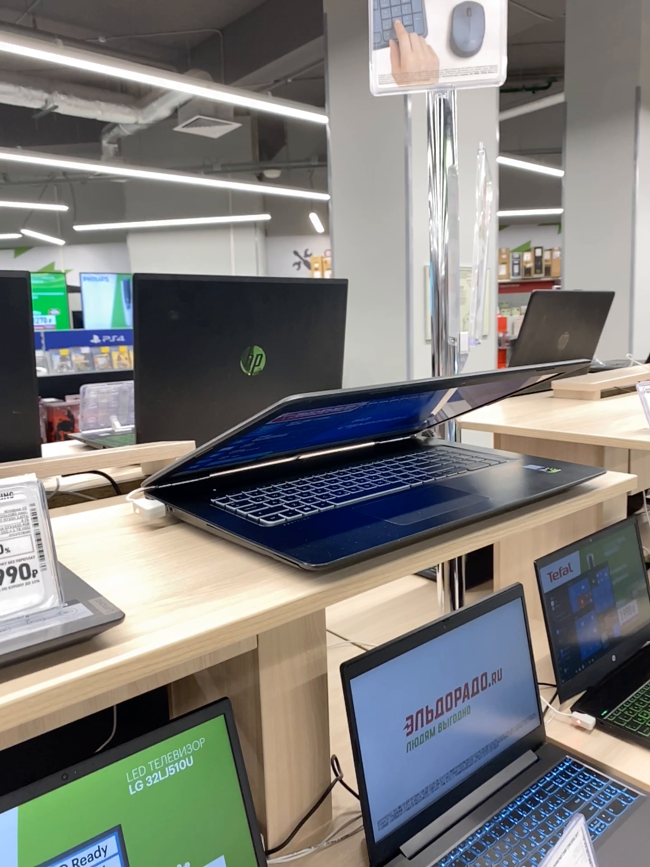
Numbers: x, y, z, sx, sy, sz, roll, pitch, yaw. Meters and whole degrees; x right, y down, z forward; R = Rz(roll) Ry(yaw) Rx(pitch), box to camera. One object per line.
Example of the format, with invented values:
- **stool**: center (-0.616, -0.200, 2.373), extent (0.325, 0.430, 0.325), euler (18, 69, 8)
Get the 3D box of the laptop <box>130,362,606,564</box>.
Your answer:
- **laptop**: center (0.053, -0.003, 0.670), extent (0.397, 0.103, 0.263), euler (-9, 13, -39)
